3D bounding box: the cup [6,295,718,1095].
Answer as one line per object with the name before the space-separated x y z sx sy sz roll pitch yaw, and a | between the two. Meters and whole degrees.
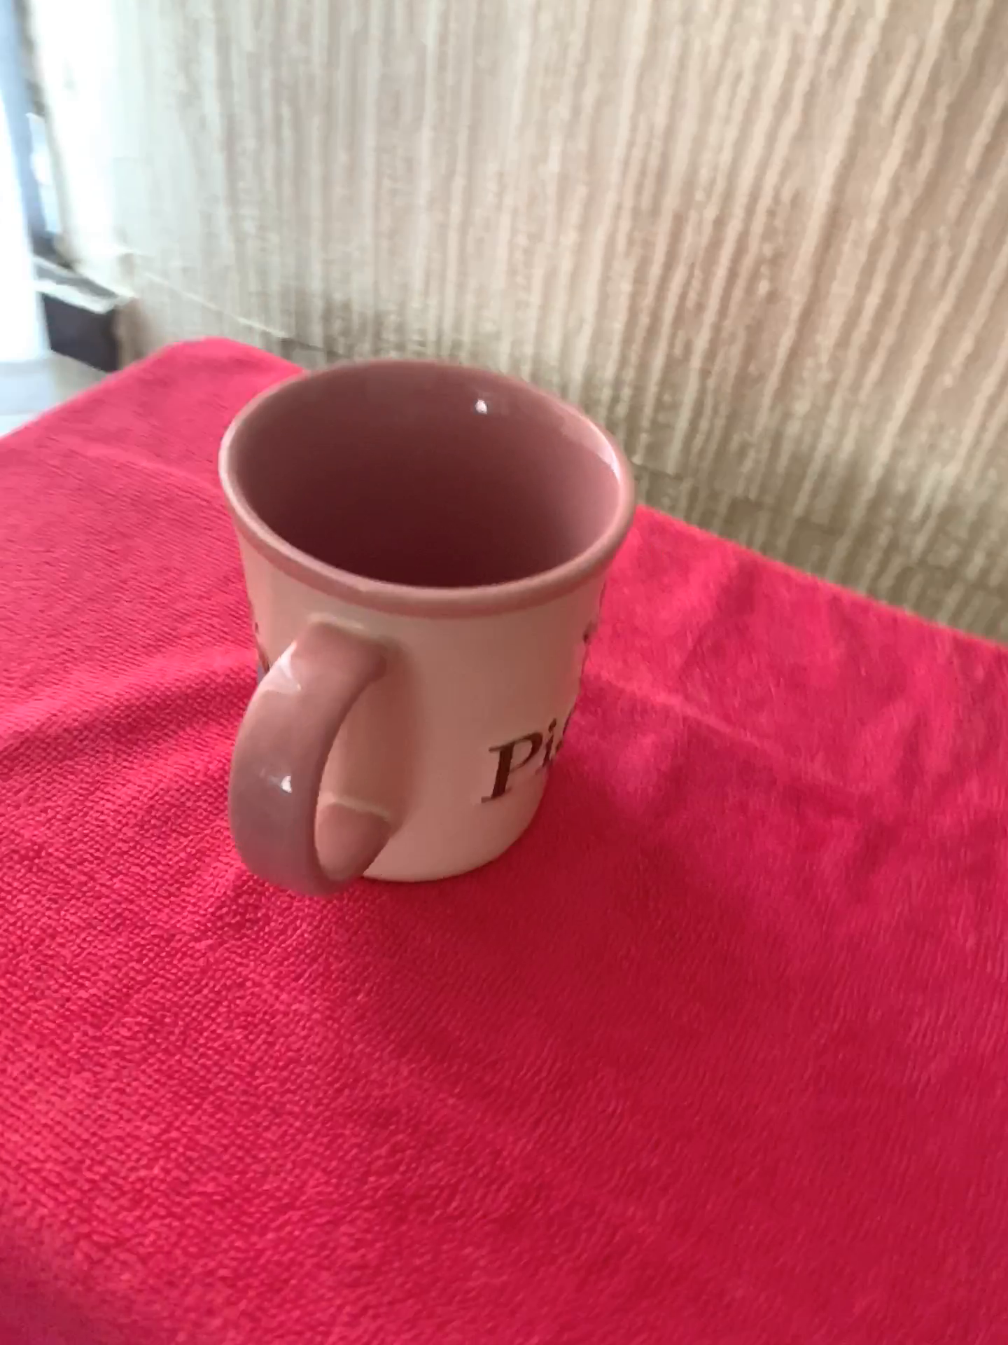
cup | -0.023 -0.002 0.248 0.090 0.109 0.131 21 45 13
